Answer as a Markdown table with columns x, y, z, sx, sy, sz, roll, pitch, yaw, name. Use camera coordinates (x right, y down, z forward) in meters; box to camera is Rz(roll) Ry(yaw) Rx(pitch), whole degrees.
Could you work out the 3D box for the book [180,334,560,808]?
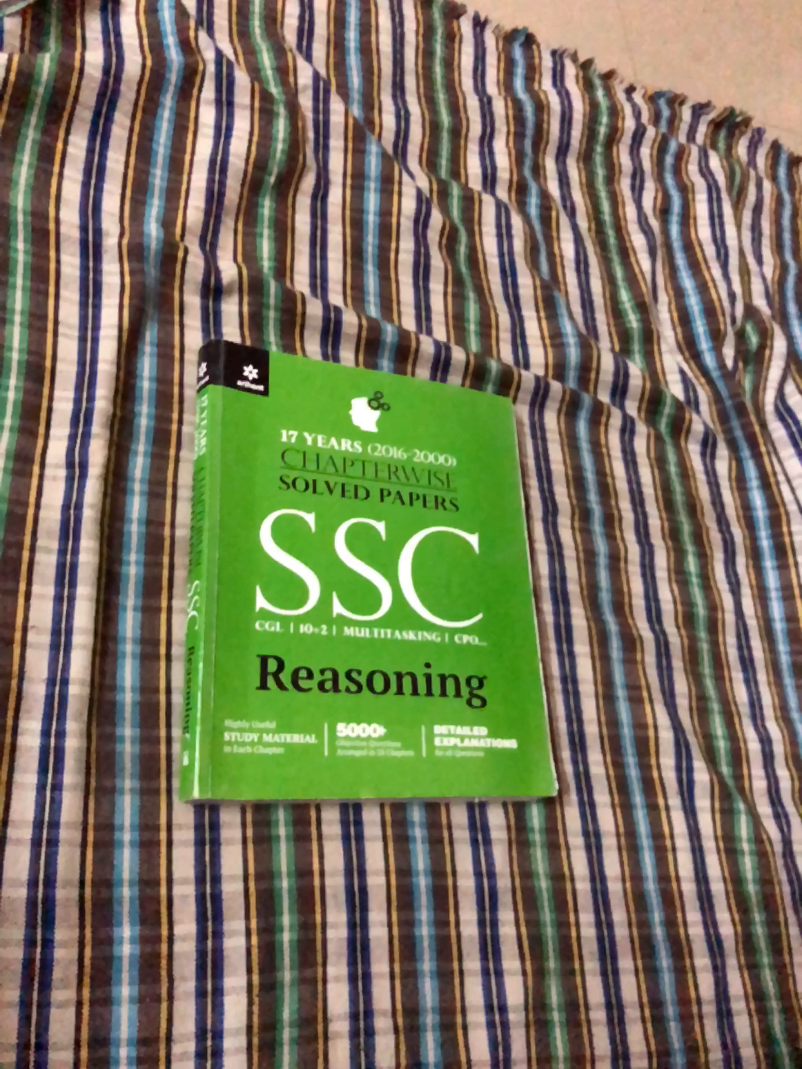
| x | y | z | sx | sy | sz | roll | pitch | yaw | name |
| --- | --- | --- | --- | --- | --- | --- | --- | --- | --- |
| -0.018 | 0.023 | 0.543 | 0.210 | 0.040 | 0.270 | 7 | 66 | -23 | book |
